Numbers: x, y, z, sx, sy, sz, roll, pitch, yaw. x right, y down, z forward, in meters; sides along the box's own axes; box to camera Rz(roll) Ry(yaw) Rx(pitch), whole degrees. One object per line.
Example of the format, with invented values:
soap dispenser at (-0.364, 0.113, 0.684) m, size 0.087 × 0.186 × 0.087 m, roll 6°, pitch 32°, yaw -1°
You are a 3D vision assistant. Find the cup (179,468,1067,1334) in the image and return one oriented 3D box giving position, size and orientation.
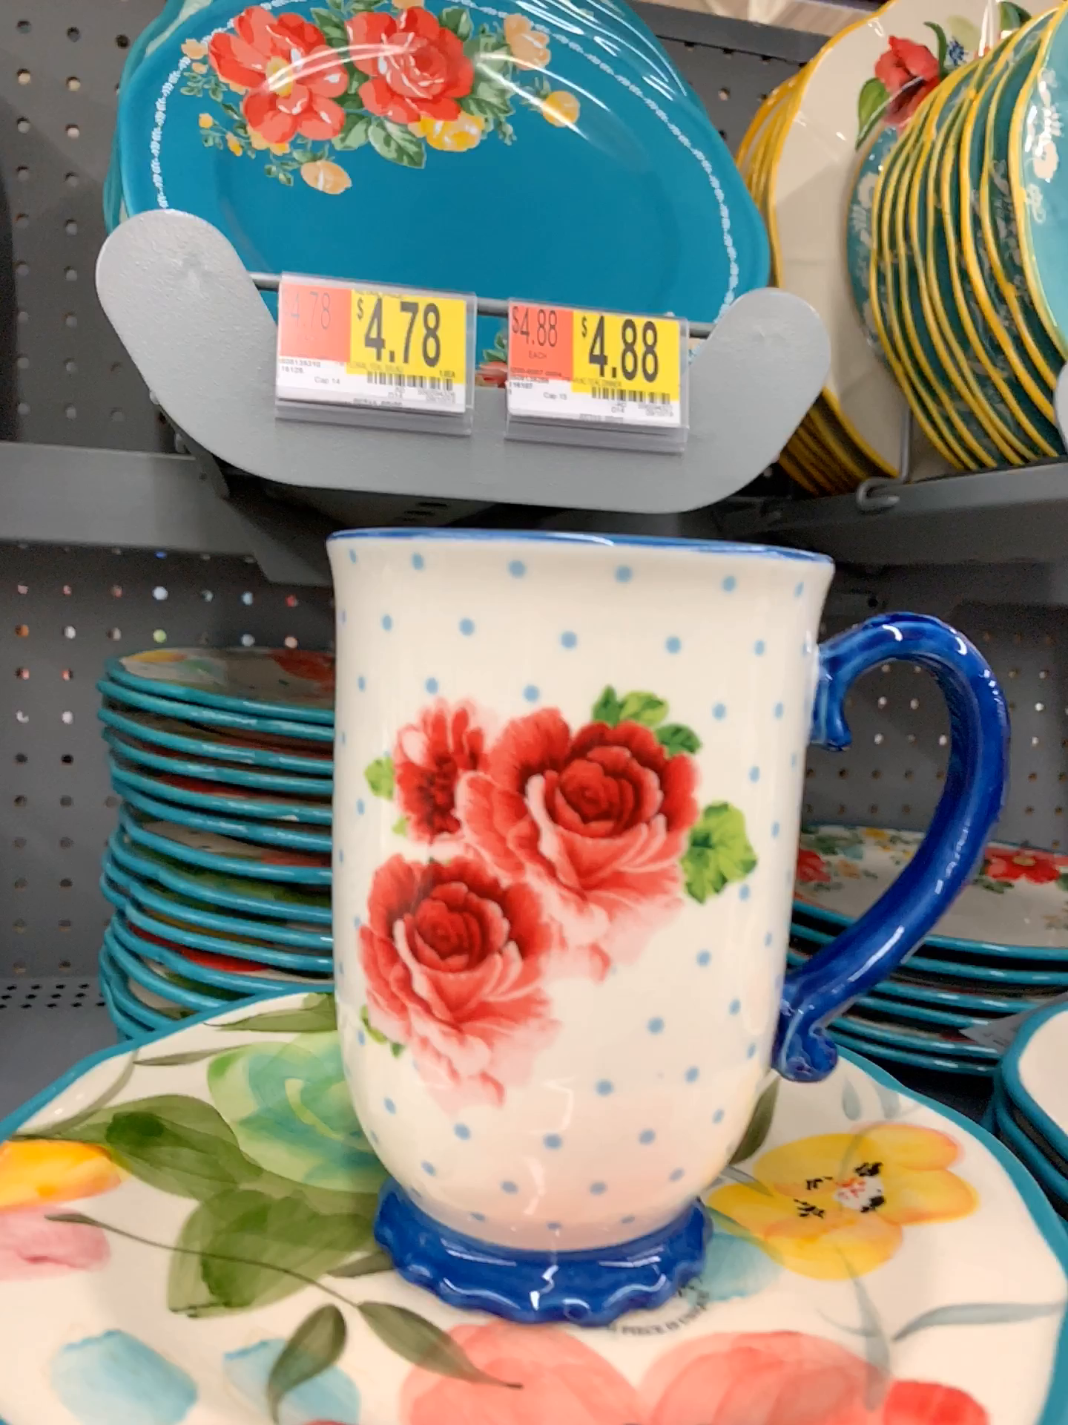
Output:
cup at (0.012, 0.027, 0.216) m, size 0.130 × 0.130 × 0.090 m, roll 3°, pitch 6°, yaw -1°
